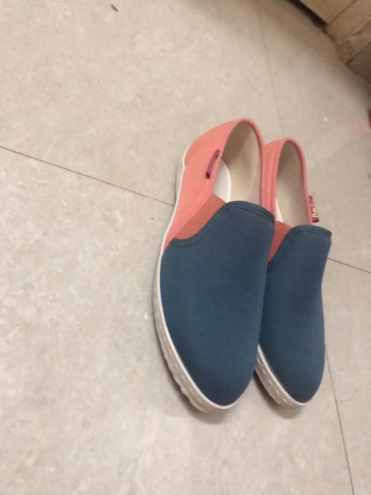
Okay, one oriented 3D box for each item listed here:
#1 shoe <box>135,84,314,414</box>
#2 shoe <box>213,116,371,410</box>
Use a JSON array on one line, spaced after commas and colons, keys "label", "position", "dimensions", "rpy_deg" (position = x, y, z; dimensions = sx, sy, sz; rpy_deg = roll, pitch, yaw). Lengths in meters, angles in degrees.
[{"label": "shoe", "position": [0.026, -0.003, 0.302], "dimensions": [0.090, 0.060, 0.221], "rpy_deg": [20, 56, -30]}, {"label": "shoe", "position": [0.088, 0.011, 0.338], "dimensions": [0.090, 0.060, 0.221], "rpy_deg": [14, 59, -34]}]
